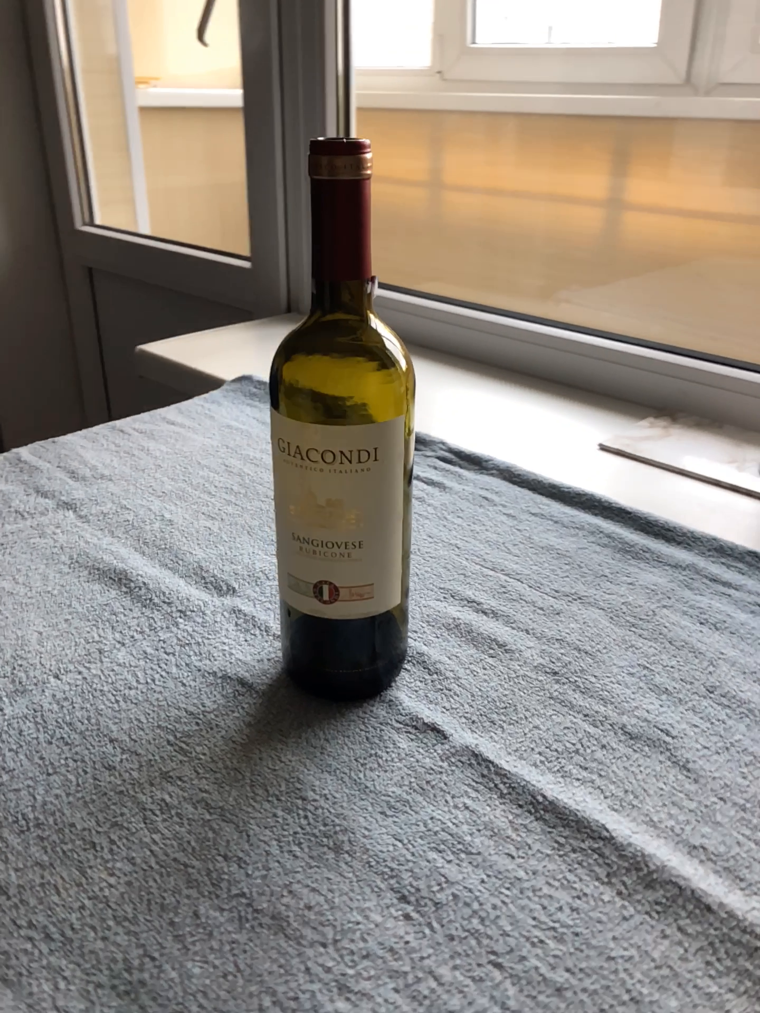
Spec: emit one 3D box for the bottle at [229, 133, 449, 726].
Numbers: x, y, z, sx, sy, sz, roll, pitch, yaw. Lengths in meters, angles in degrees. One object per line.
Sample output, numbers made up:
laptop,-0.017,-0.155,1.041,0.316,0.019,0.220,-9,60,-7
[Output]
bottle,-0.017,-0.034,0.447,0.080,0.299,0.080,1,26,0
